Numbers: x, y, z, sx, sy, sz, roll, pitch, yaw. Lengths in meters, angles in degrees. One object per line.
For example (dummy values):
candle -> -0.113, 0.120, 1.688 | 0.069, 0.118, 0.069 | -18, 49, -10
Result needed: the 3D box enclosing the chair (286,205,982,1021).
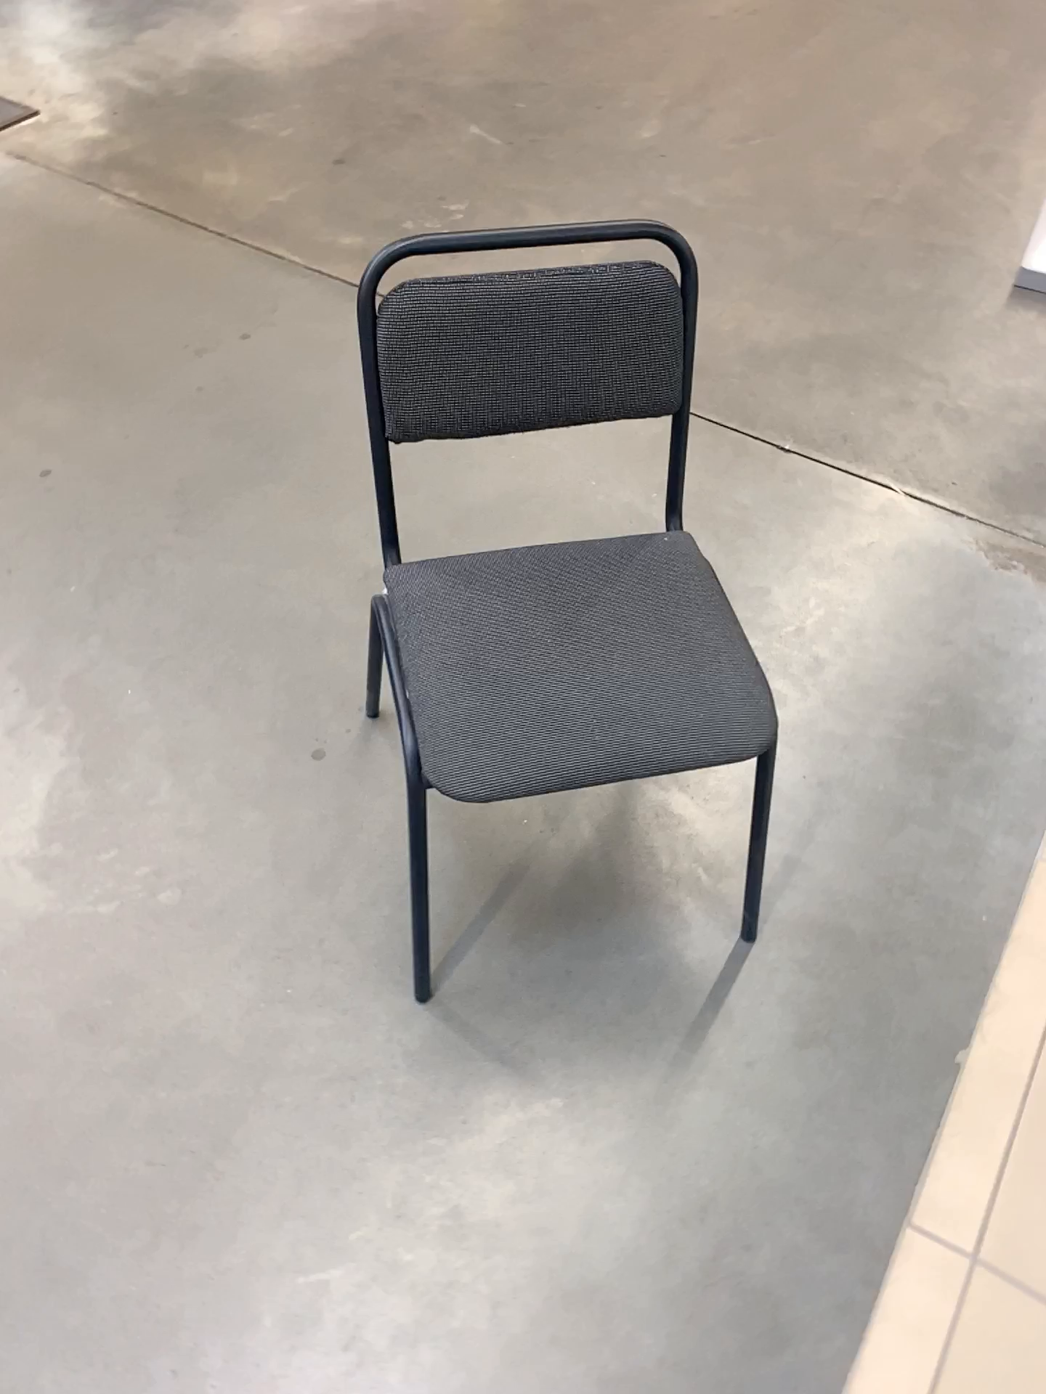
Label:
chair -> 0.045, -0.090, 1.342 | 0.550, 0.737, 0.632 | -7, 50, -8
